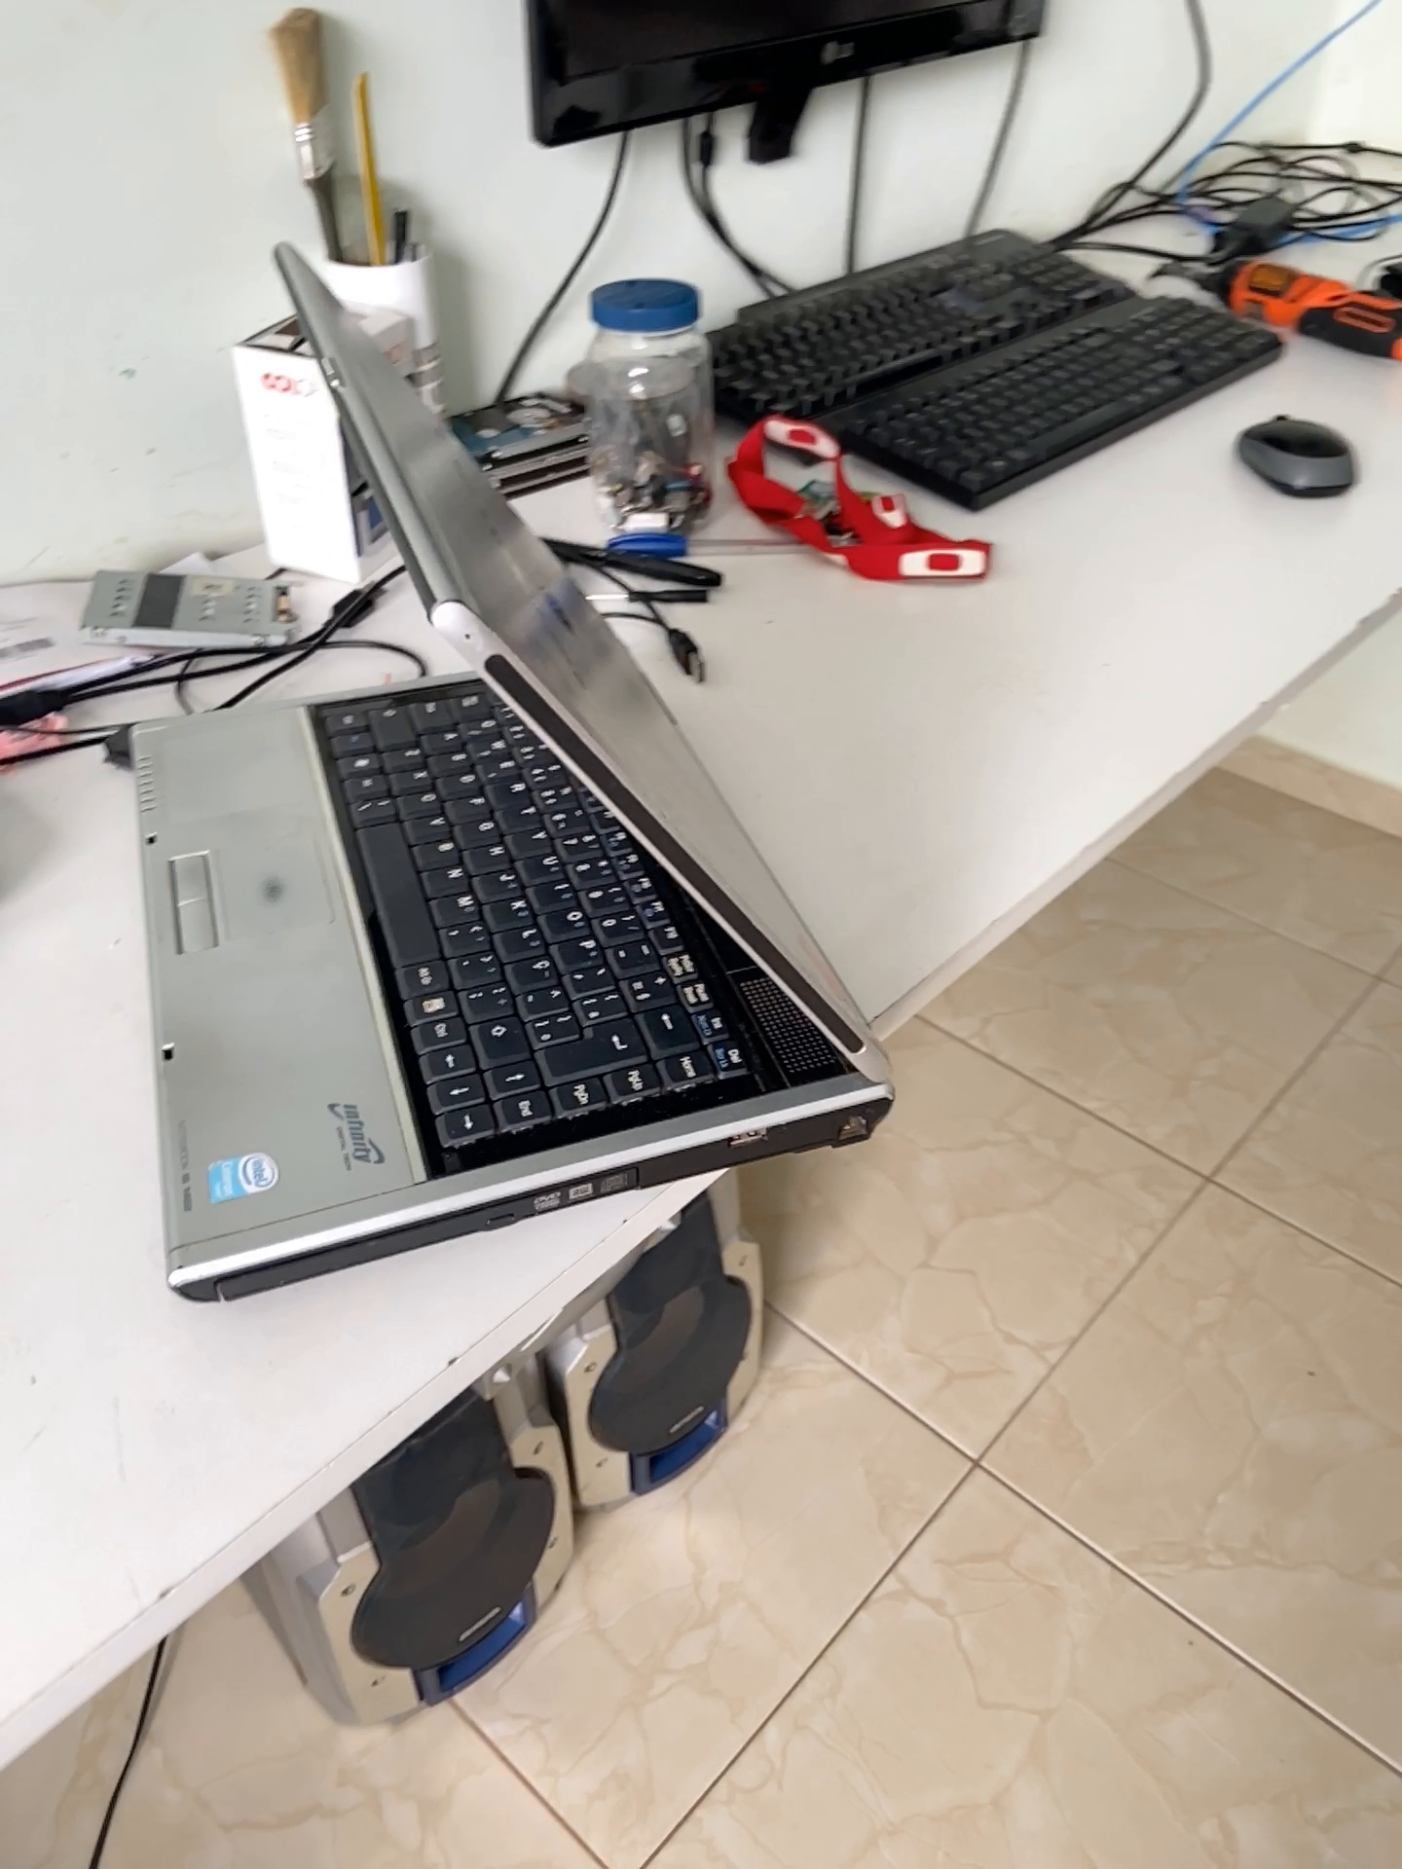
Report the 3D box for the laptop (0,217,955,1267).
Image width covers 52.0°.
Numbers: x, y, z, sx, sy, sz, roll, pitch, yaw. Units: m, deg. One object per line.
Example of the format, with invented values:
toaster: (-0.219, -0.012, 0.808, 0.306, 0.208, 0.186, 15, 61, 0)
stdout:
laptop: (-0.101, -0.104, 0.526, 0.236, 0.210, 0.339, -12, 40, -16)
